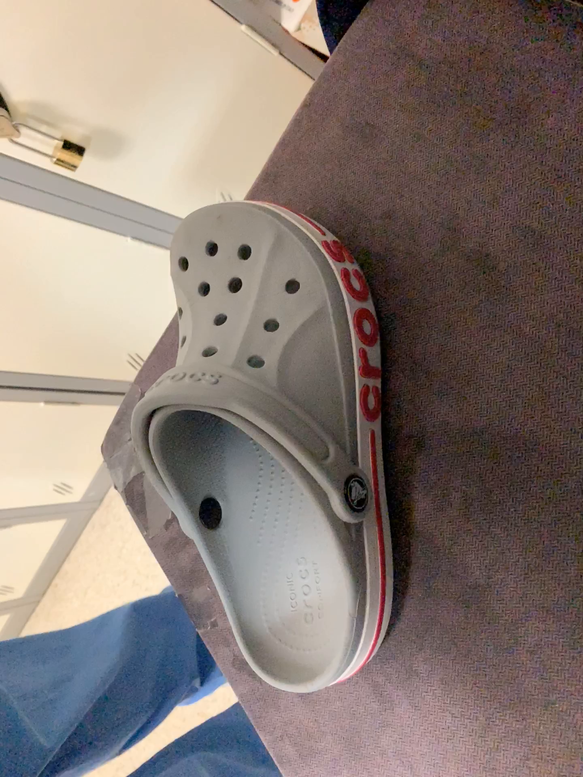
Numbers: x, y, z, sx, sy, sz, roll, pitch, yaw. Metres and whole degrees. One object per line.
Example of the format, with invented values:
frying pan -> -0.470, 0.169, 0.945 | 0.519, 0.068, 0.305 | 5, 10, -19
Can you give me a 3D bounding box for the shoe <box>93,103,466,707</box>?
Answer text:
shoe -> -0.016, 0.012, 0.292 | 0.119, 0.075, 0.239 | -21, 73, 36
